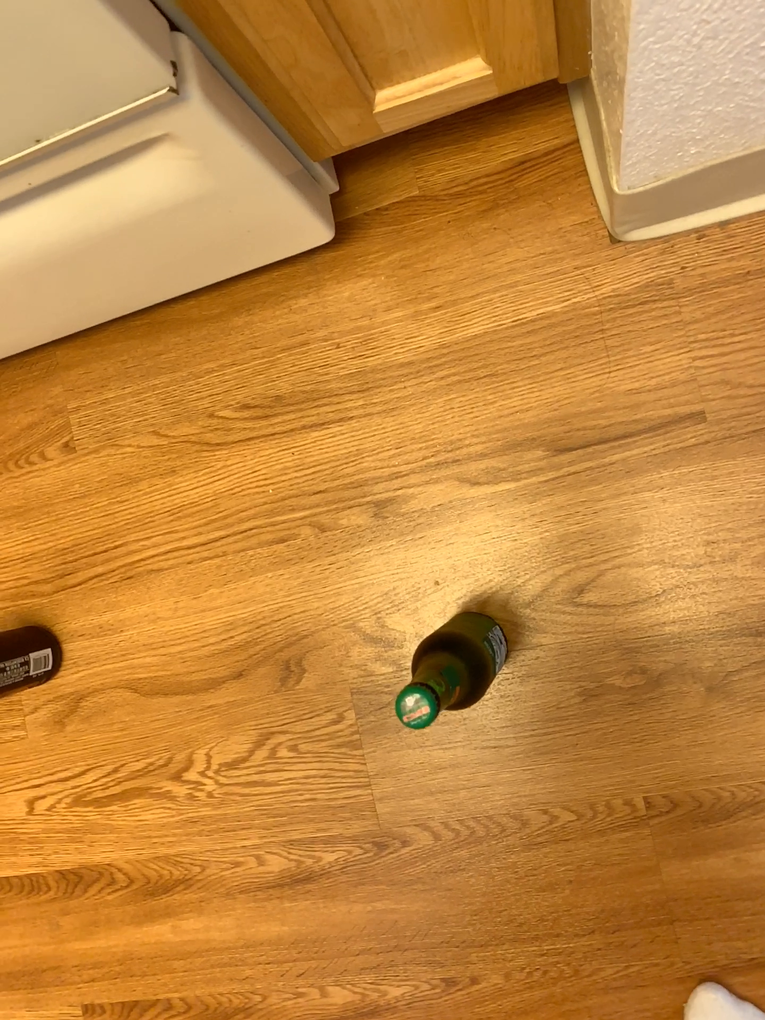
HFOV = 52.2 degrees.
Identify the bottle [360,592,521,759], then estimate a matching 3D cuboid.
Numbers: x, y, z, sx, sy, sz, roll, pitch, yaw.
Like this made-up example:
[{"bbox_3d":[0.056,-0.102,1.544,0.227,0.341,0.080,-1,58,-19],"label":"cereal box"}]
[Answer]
[{"bbox_3d":[0.054,0.114,0.593,0.050,0.229,0.060,-41,80,13],"label":"bottle"}]
